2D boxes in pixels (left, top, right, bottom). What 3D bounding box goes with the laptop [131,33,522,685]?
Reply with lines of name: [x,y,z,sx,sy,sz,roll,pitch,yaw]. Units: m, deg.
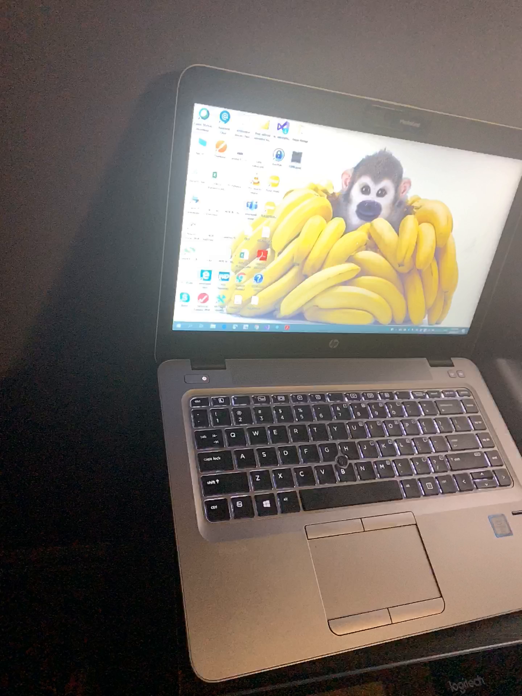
laptop: [0.092,-0.007,0.382,0.318,0.191,0.326,0,54,-21]
